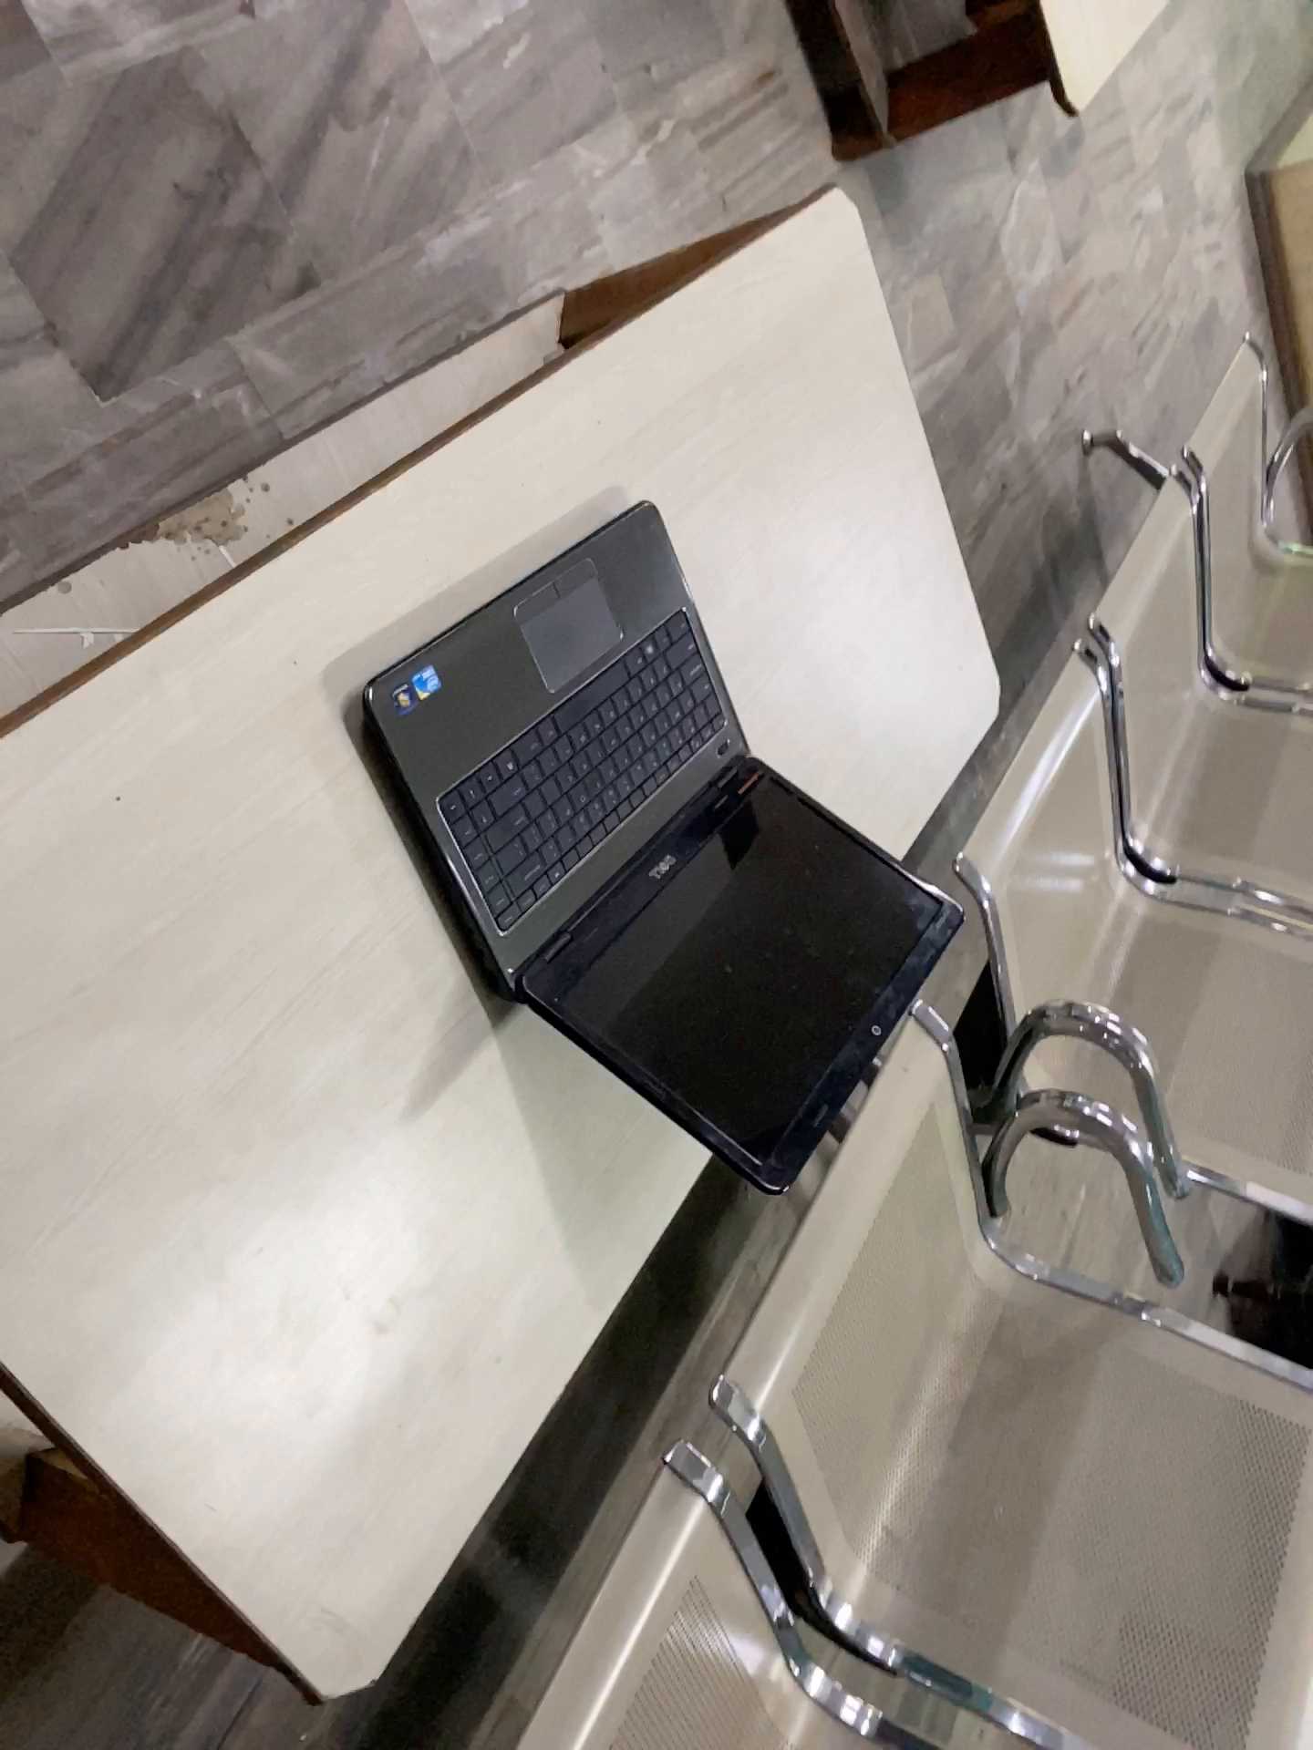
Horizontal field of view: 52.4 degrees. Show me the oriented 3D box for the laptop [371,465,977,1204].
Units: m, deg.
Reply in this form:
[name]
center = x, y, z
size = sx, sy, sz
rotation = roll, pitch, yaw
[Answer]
[laptop]
center = 0.044, -0.034, 0.937
size = 0.330, 0.152, 0.379
rotation = -45, 123, -41
